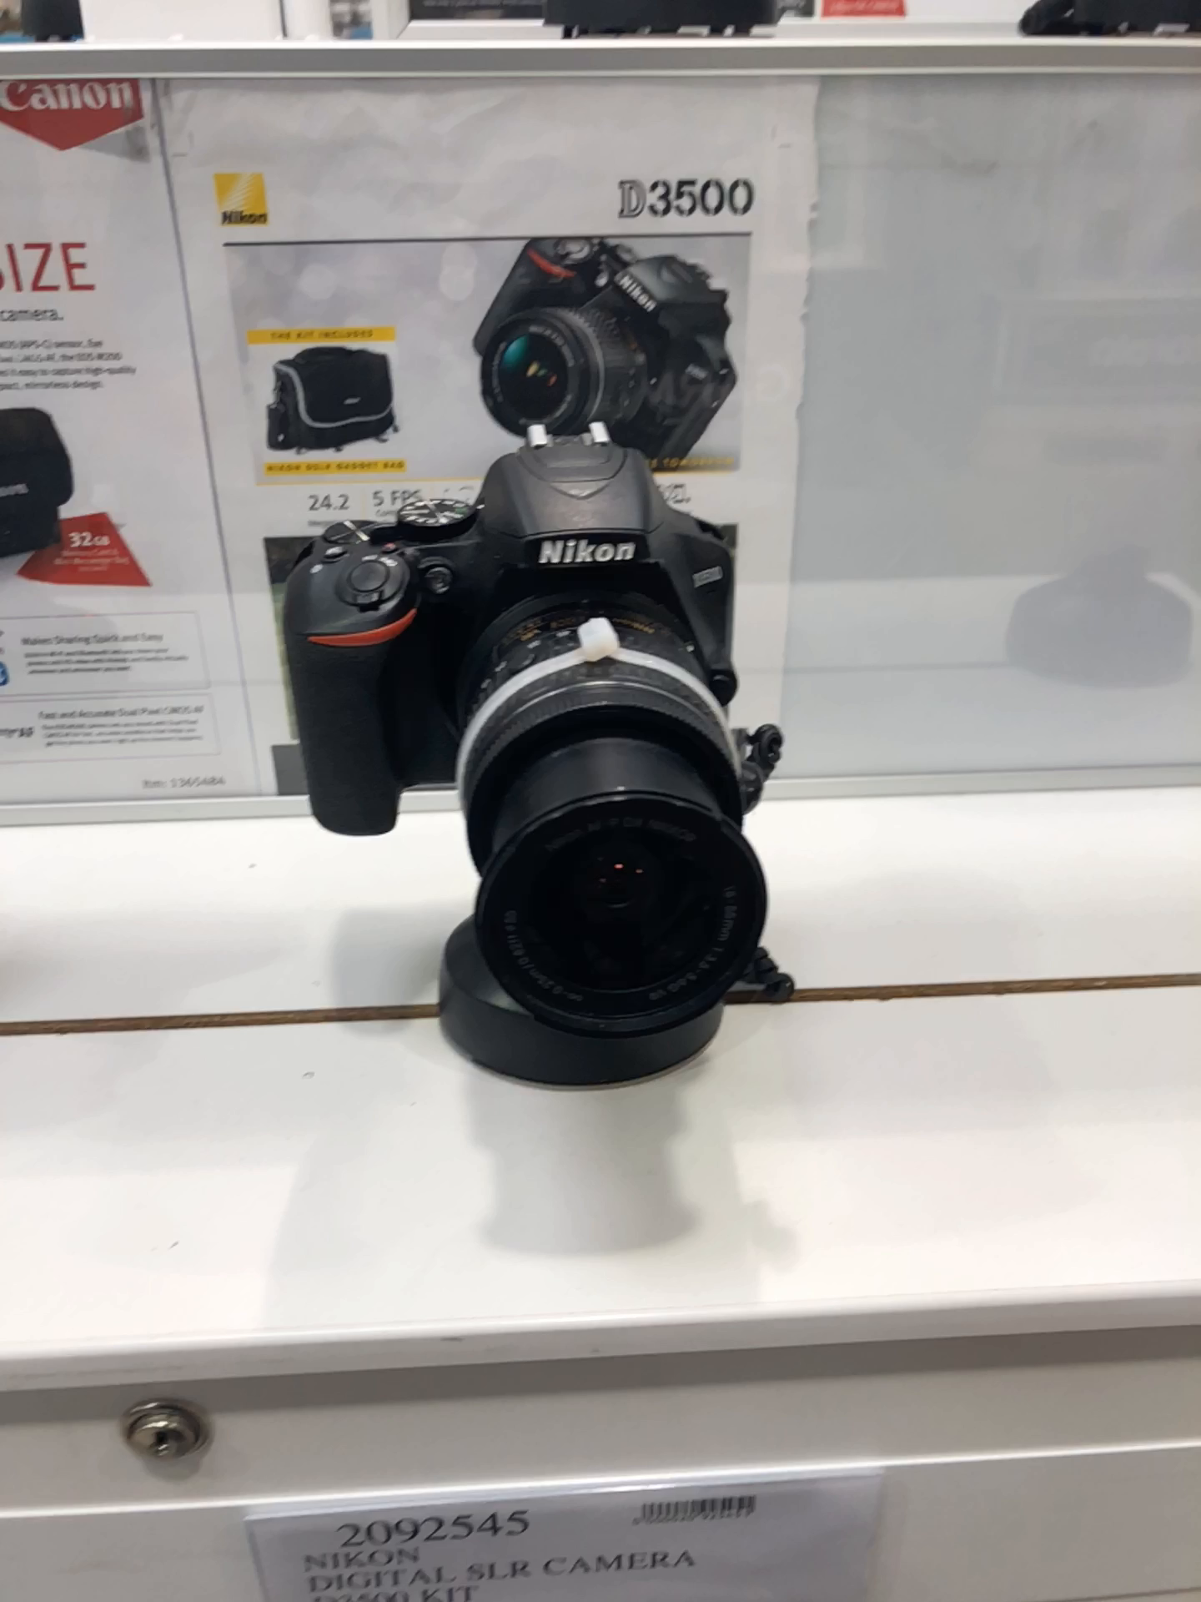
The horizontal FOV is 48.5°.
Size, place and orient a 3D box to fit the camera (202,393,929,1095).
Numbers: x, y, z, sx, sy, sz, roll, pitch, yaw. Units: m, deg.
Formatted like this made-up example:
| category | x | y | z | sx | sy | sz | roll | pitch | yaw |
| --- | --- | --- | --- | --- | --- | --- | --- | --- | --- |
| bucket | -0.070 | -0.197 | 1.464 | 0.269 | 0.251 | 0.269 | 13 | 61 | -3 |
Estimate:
| category | x | y | z | sx | sy | sz | roll | pitch | yaw |
| --- | --- | --- | --- | --- | --- | --- | --- | --- | --- |
| camera | -0.016 | -0.032 | 0.365 | 0.140 | 0.110 | 0.191 | -4 | 29 | -6 |
